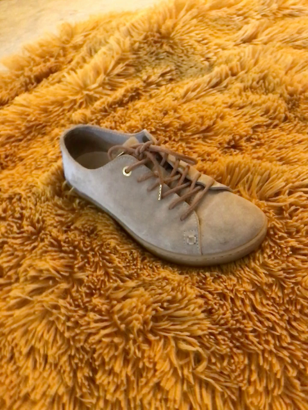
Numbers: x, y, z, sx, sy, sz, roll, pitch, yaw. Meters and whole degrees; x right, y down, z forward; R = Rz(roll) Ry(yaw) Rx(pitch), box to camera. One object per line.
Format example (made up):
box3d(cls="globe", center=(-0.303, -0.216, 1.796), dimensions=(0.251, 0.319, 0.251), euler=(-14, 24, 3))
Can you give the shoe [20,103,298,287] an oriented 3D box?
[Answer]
box3d(cls="shoe", center=(-0.005, -0.029, 0.346), dimensions=(0.258, 0.070, 0.101), euler=(21, 51, 30))
